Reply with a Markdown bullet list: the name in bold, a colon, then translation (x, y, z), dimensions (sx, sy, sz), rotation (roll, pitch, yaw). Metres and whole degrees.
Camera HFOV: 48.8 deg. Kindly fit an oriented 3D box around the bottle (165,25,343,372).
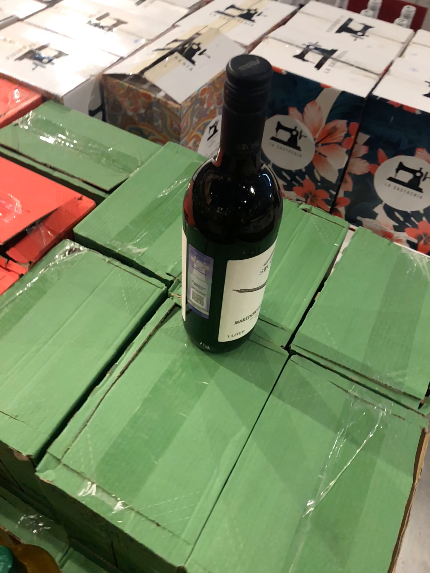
- **bottle**: translation (0.017, -0.050, 0.414), dimensions (0.080, 0.288, 0.090), rotation (29, 54, 17)
